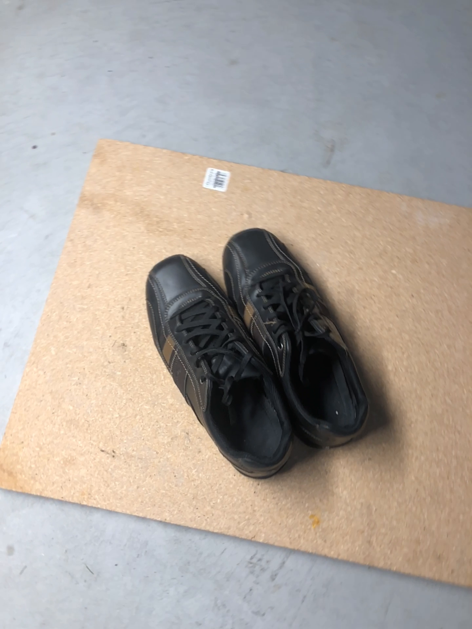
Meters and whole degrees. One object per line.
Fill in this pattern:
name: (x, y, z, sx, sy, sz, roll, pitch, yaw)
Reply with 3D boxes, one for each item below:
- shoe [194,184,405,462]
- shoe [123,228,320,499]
shoe: (0.066, 0.011, 0.606, 0.100, 0.100, 0.290, -27, 77, -1)
shoe: (-0.025, 0.058, 0.634, 0.100, 0.100, 0.300, -25, 72, -11)
